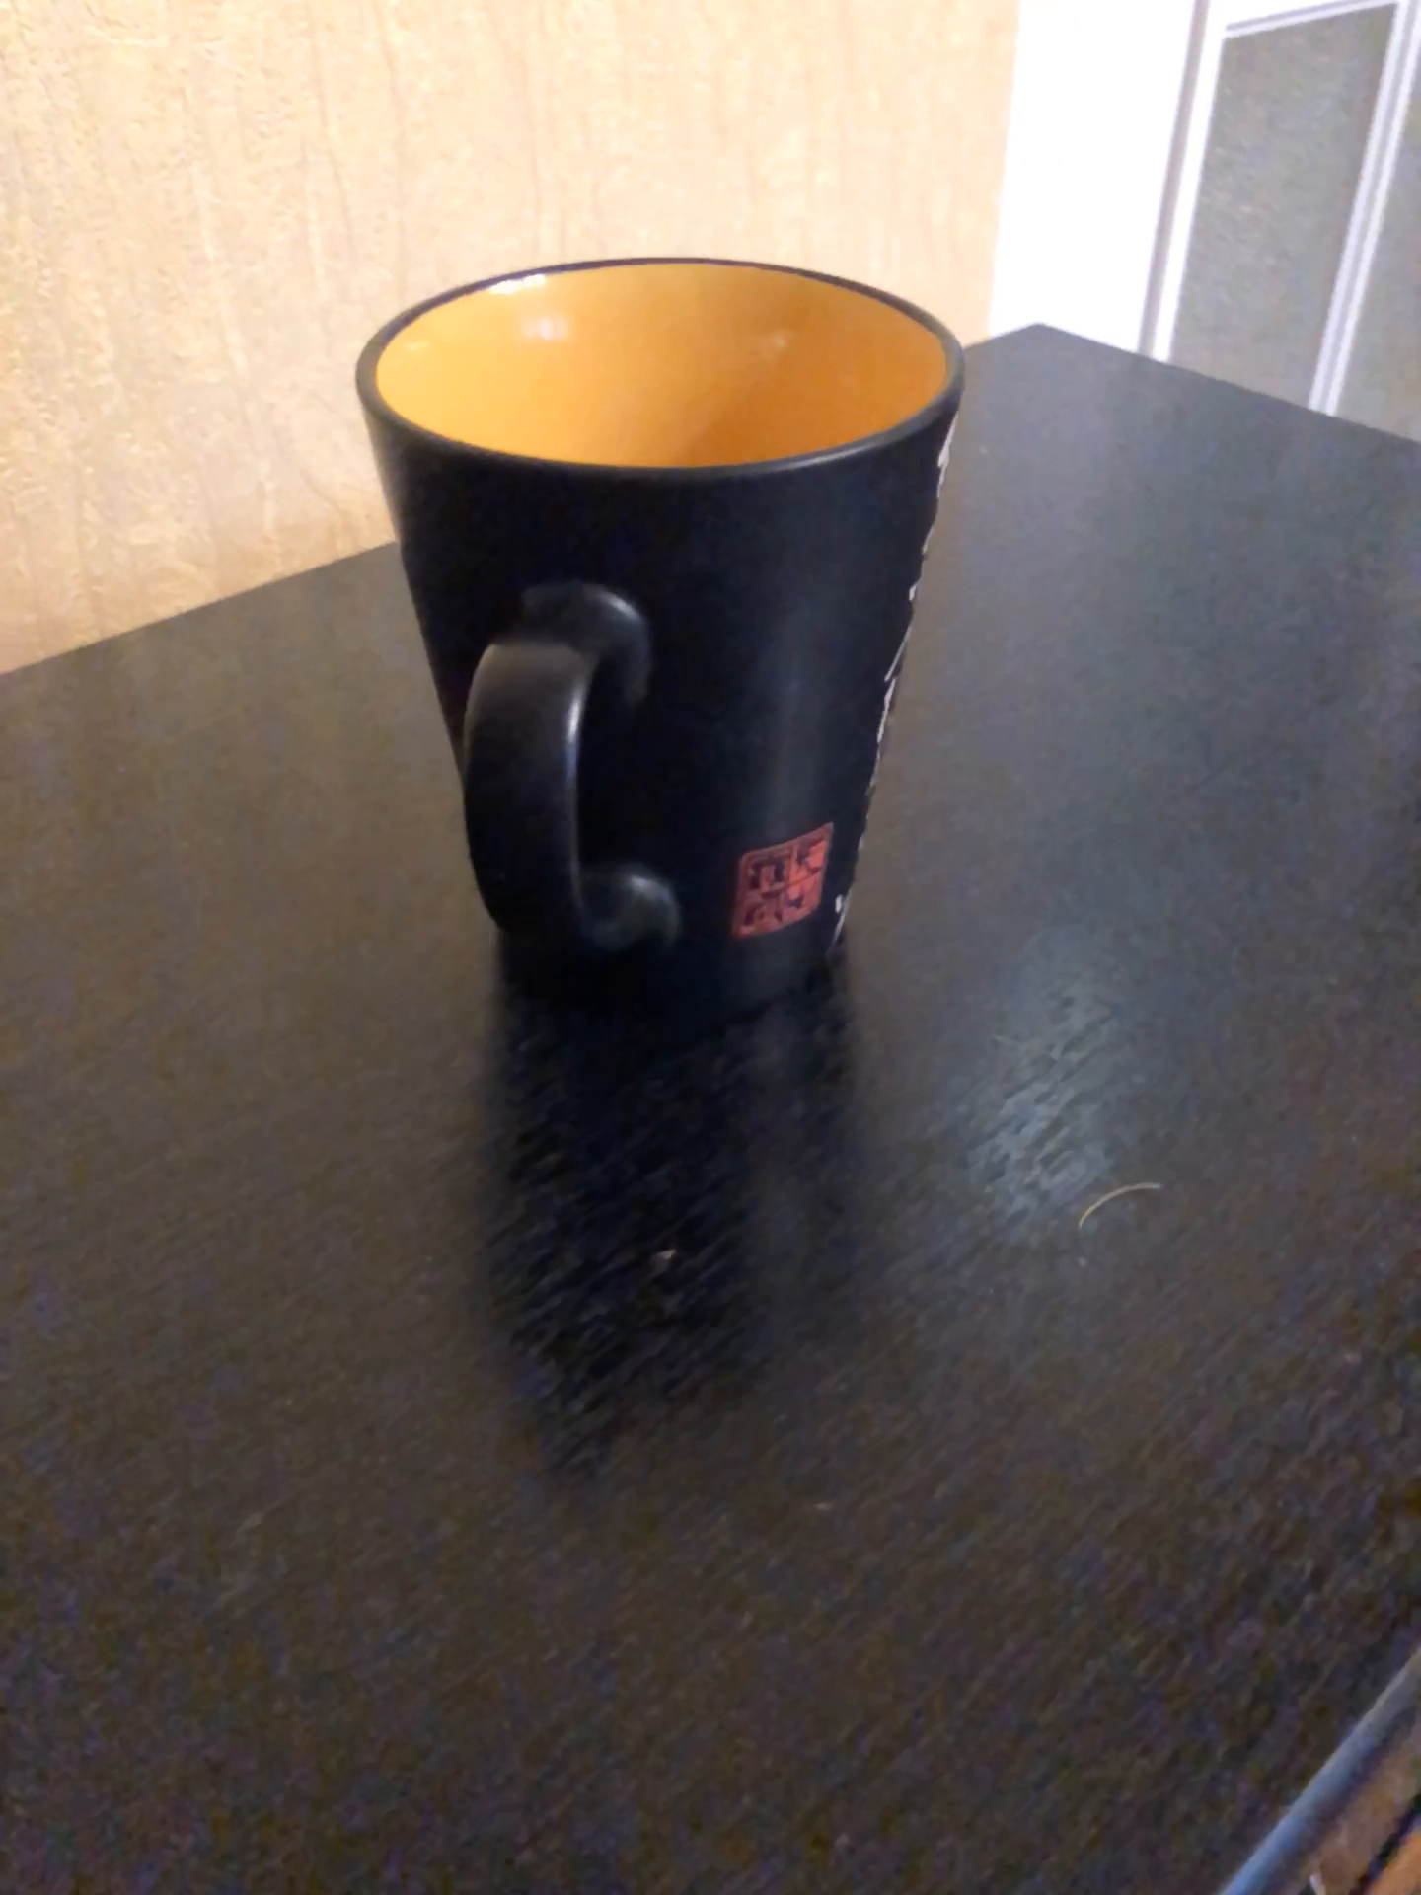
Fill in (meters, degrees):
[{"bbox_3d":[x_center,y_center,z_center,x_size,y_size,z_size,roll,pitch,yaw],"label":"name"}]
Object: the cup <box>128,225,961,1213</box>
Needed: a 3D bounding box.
[{"bbox_3d":[-0.012,-0.045,0.259,0.090,0.099,0.131,6,40,8],"label":"cup"}]
